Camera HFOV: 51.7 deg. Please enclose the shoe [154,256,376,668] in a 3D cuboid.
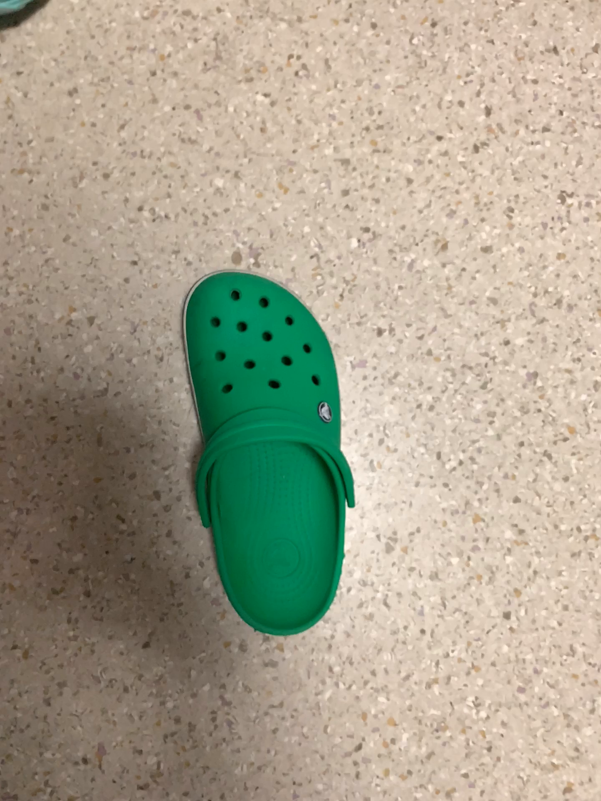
[{"bbox_3d":[-0.025,0.035,0.411,0.108,0.082,0.234,-6,87,-6],"label":"shoe"}]
